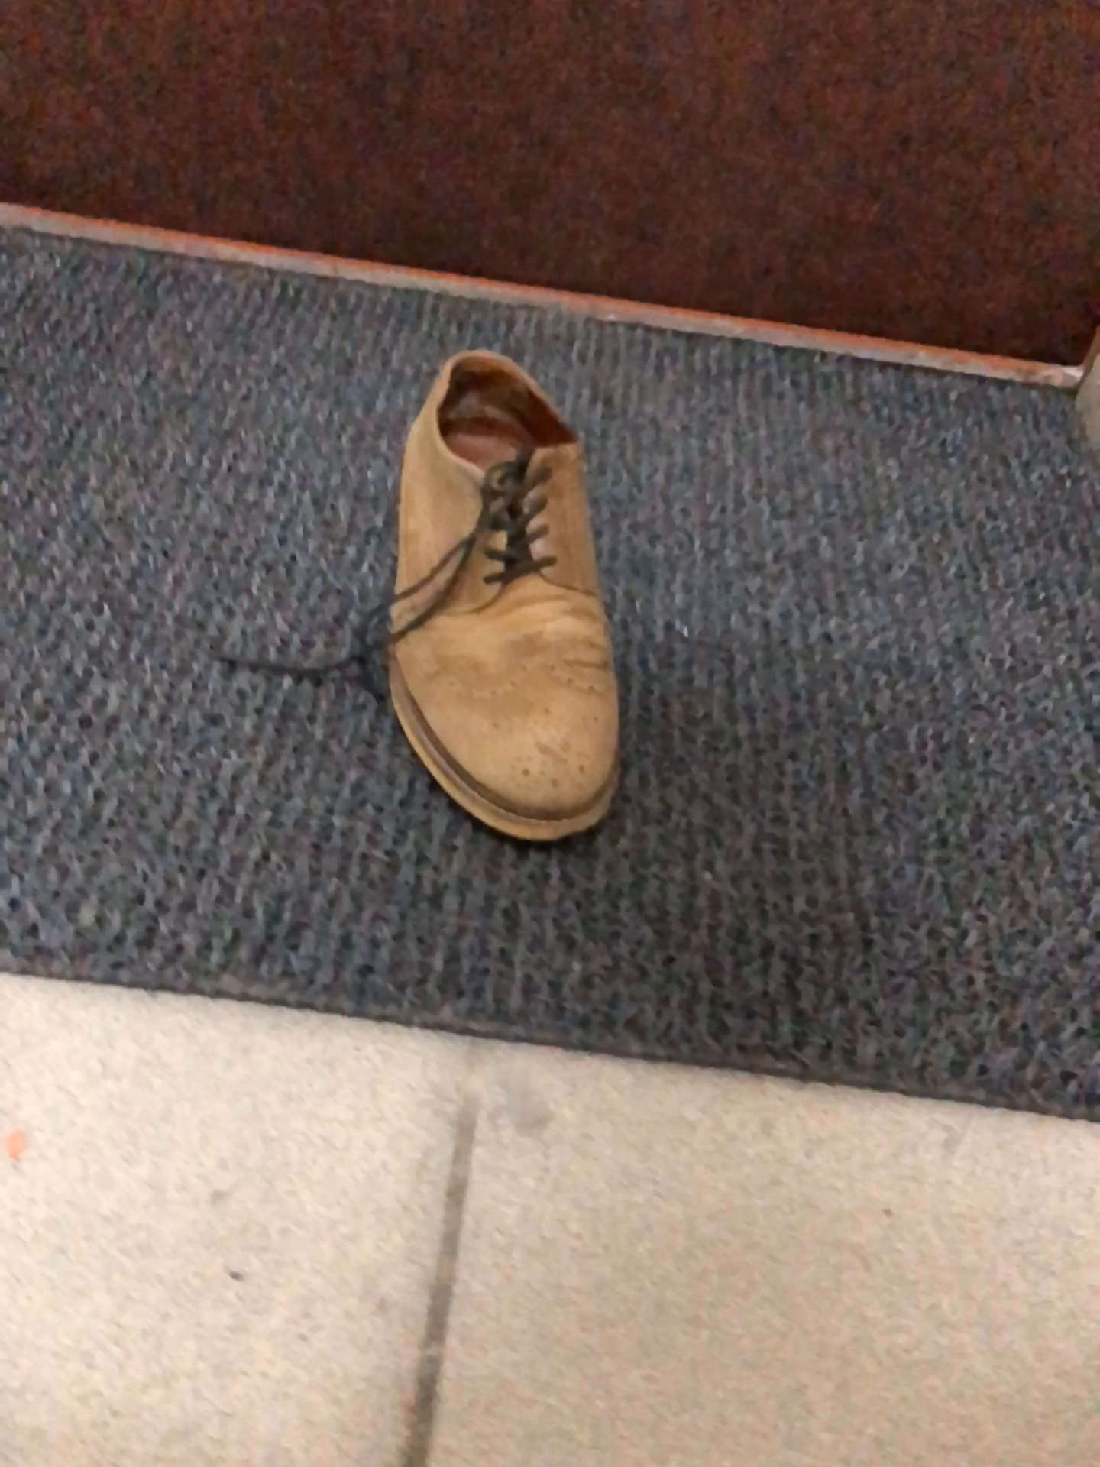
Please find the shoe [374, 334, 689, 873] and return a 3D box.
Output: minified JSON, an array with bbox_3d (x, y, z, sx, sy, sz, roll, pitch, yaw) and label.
[{"bbox_3d":[-0.026,-0.082,0.613,0.110,0.099,0.302,-1,45,-11],"label":"shoe"}]
